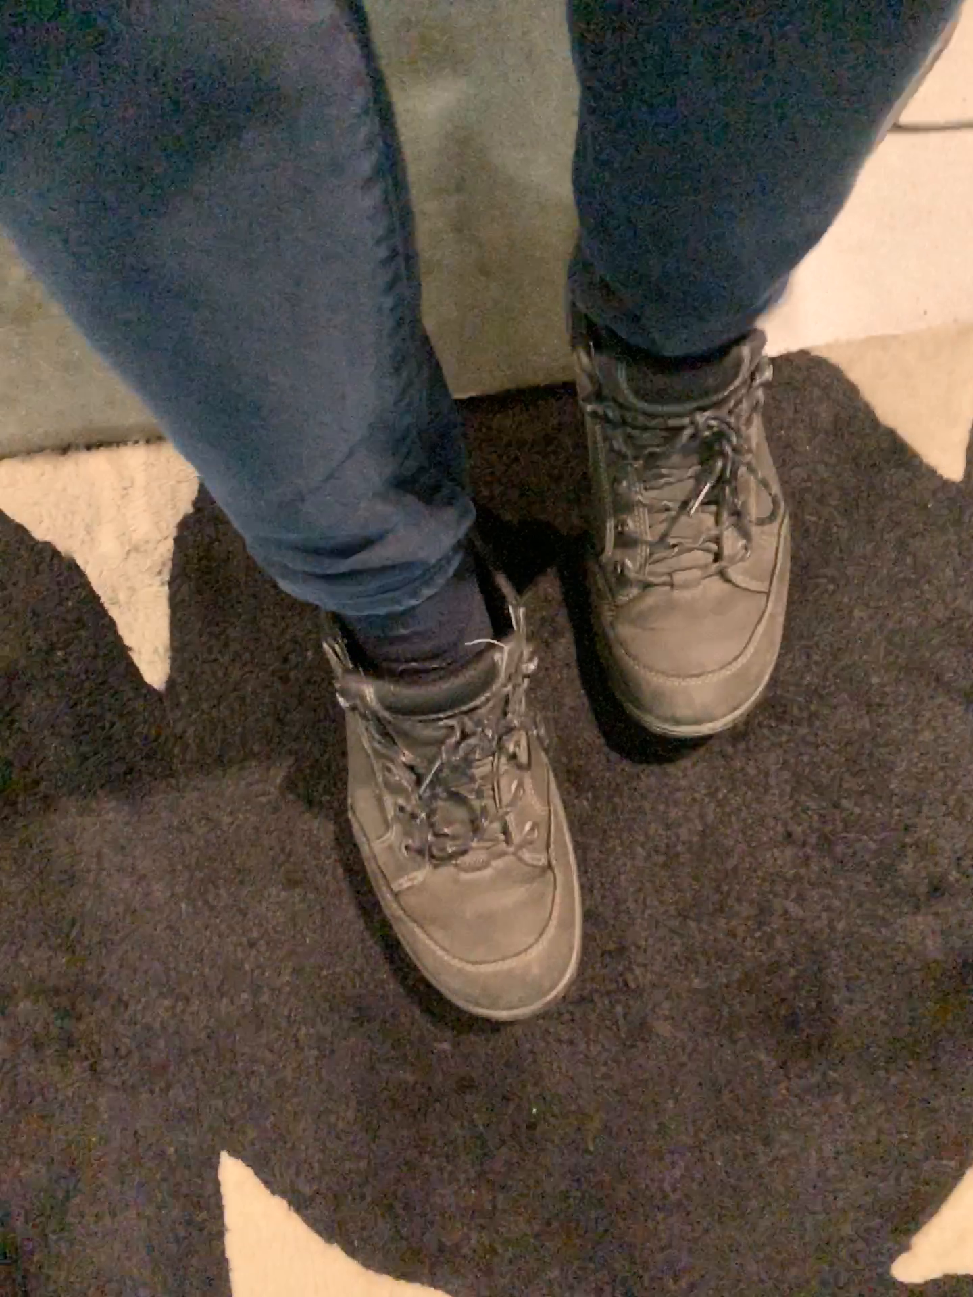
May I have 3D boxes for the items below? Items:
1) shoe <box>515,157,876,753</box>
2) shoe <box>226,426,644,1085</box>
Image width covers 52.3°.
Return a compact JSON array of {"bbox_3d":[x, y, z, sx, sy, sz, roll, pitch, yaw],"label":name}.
[{"bbox_3d":[0.102,-0.096,0.528,0.119,0.077,0.284,-11,84,-1],"label":"shoe"},{"bbox_3d":[-0.027,0.049,0.507,0.121,0.077,0.287,-17,84,-1],"label":"shoe"}]
